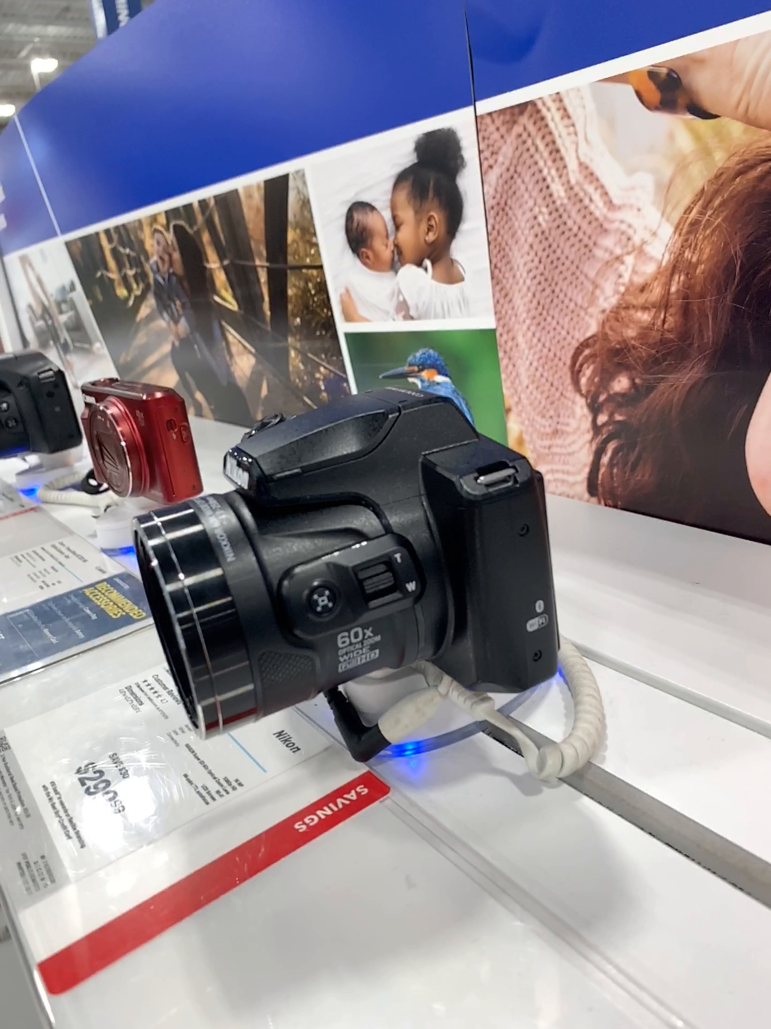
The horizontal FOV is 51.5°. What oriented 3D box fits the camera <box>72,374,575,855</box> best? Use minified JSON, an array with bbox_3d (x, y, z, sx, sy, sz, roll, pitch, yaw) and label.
[{"bbox_3d":[-0.024,0.012,0.239,0.100,0.080,0.120,-16,21,-25],"label":"camera"}]
